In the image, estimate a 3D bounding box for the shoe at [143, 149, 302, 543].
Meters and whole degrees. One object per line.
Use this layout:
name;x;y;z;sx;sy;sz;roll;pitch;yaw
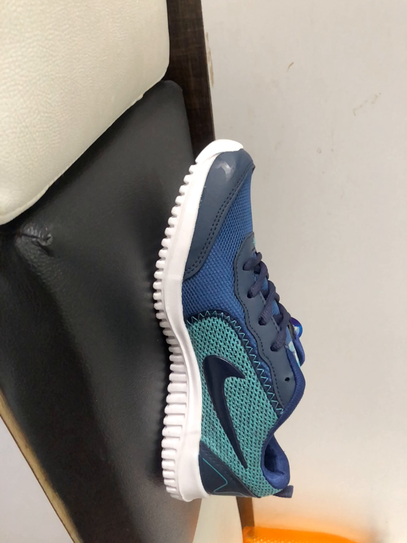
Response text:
shoe;0.026;0.047;0.362;0.130;0.100;0.260;-34;123;-77
